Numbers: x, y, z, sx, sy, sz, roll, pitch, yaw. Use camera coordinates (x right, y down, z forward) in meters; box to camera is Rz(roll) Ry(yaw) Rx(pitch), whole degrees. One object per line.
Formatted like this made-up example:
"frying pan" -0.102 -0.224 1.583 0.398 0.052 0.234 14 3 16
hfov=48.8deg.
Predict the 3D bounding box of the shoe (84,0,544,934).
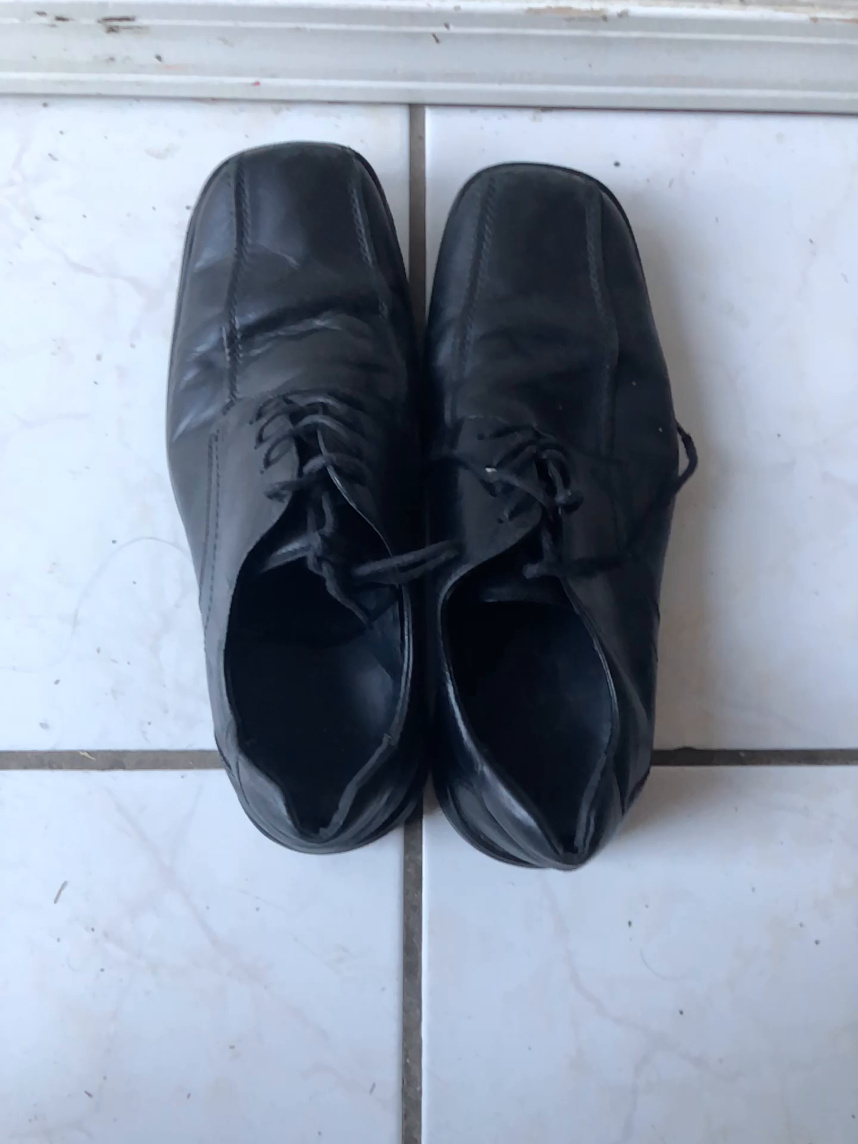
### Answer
"shoe" -0.040 -0.039 0.340 0.120 0.100 0.290 -5 84 -3

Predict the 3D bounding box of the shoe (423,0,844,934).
"shoe" 0.058 -0.038 0.335 0.110 0.100 0.290 -1 84 -2
